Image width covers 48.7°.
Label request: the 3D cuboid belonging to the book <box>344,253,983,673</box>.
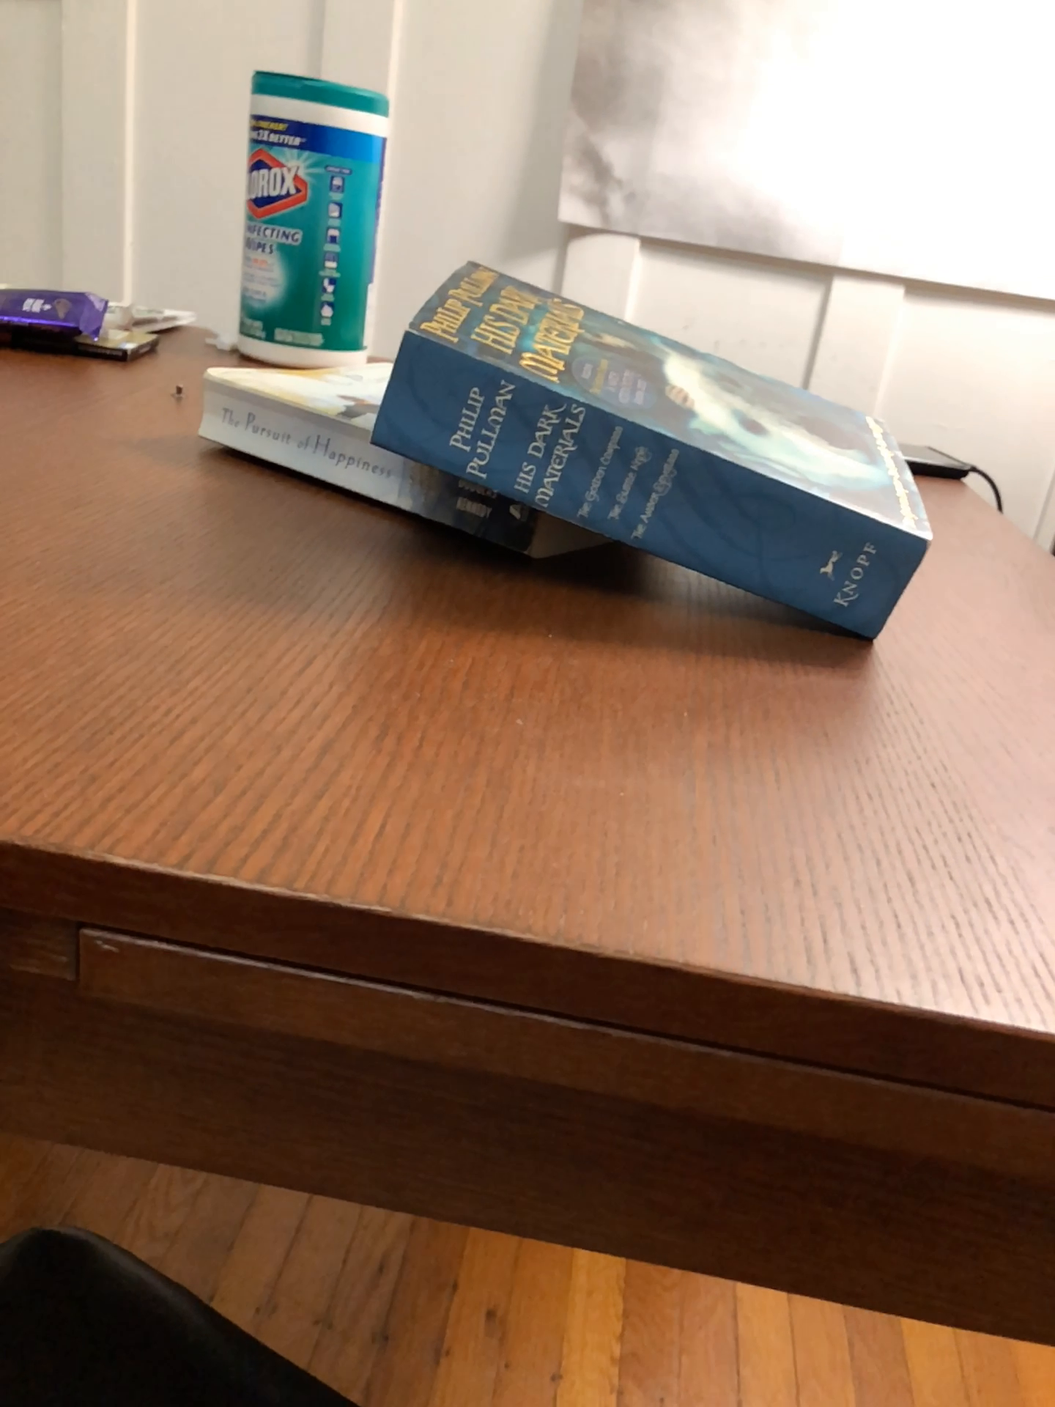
[{"bbox_3d":[0.058,-0.117,0.523,0.240,0.060,0.171,21,26,-6],"label":"book"}]

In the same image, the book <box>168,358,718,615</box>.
[{"bbox_3d":[-0.047,-0.129,0.626,0.240,0.040,0.171,27,34,31],"label":"book"}]
